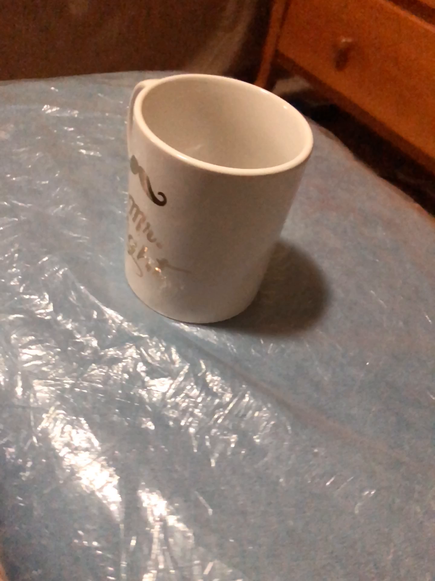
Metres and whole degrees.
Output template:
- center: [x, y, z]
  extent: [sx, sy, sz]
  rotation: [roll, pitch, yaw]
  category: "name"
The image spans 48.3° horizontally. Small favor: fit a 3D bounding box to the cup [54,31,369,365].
- center: [-0.018, -0.059, 0.276]
  extent: [0.100, 0.110, 0.140]
  rotation: [-17, 55, -29]
  category: "cup"
